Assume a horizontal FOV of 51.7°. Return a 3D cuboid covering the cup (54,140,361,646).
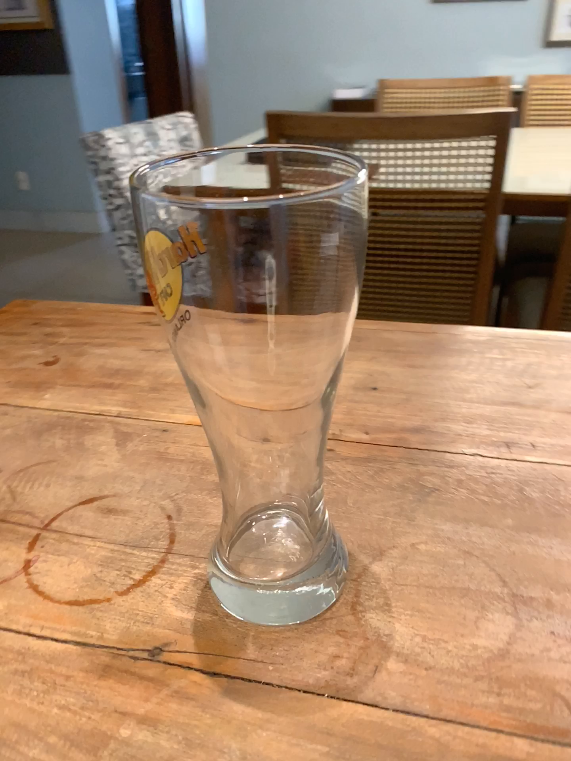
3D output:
[{"bbox_3d":[-0.014,0.009,0.264,0.090,0.201,0.090,-4,29,2],"label":"cup"}]
